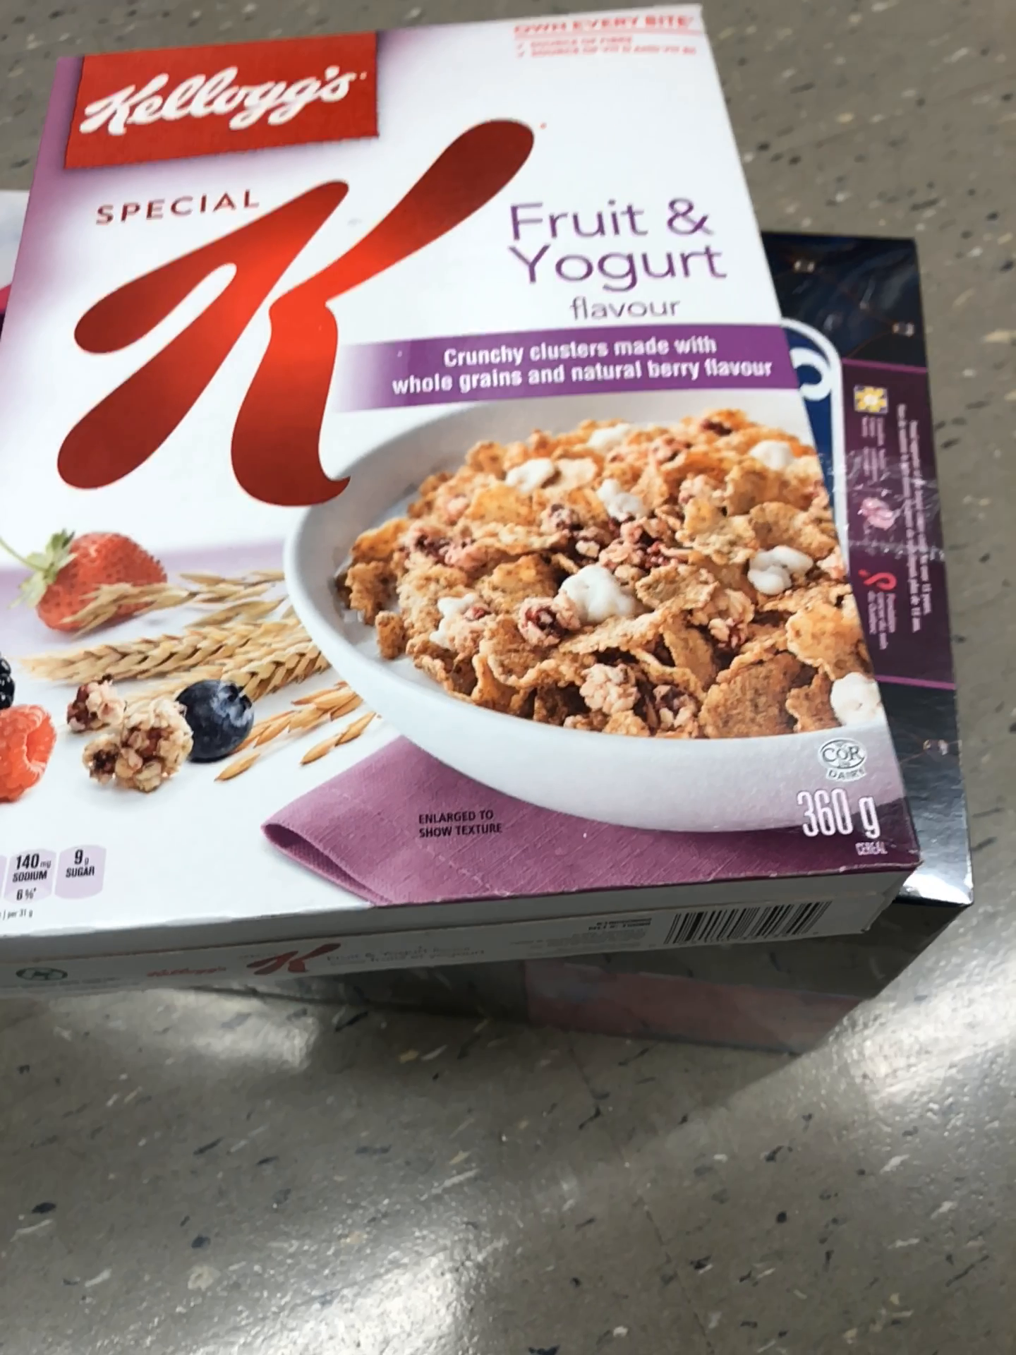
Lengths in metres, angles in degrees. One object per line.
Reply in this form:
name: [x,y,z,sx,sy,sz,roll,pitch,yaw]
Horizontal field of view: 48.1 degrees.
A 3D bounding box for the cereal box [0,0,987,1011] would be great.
cereal box: [-0.029,-0.069,0.295,0.210,0.050,0.280,-4,58,-1]
